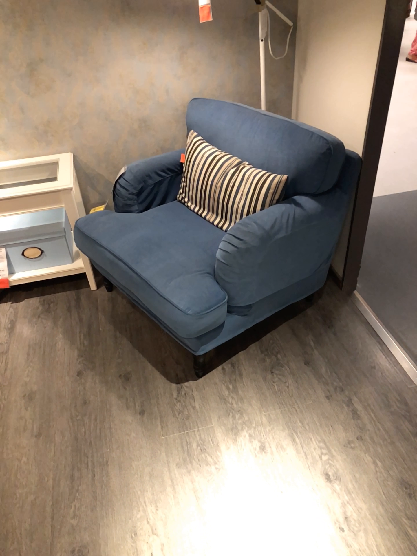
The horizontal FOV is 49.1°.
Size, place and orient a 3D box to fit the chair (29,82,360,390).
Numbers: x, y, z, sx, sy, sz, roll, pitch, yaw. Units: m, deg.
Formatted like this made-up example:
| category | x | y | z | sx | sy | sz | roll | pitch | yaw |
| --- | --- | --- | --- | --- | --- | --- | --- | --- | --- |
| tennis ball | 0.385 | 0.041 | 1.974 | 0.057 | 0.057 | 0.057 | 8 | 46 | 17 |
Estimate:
| category | x | y | z | sx | sy | sz | roll | pitch | yaw |
| --- | --- | --- | --- | --- | --- | --- | --- | --- | --- |
| chair | -0.067 | -0.261 | 1.828 | 0.802 | 0.695 | 0.894 | -28 | 43 | -29 |
